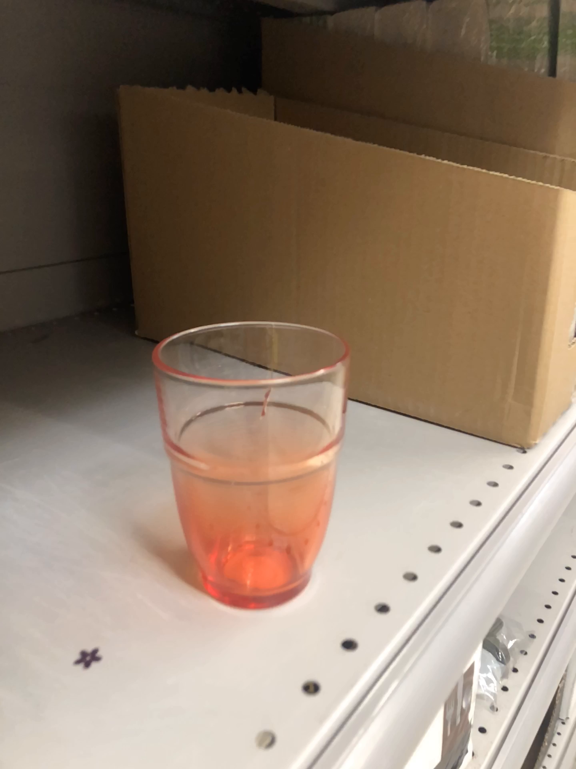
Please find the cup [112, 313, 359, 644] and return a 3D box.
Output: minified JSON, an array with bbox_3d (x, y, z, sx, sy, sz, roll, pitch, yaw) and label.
[{"bbox_3d":[-0.014,0.031,0.259,0.074,0.100,0.080,0,19,0],"label":"cup"}]
